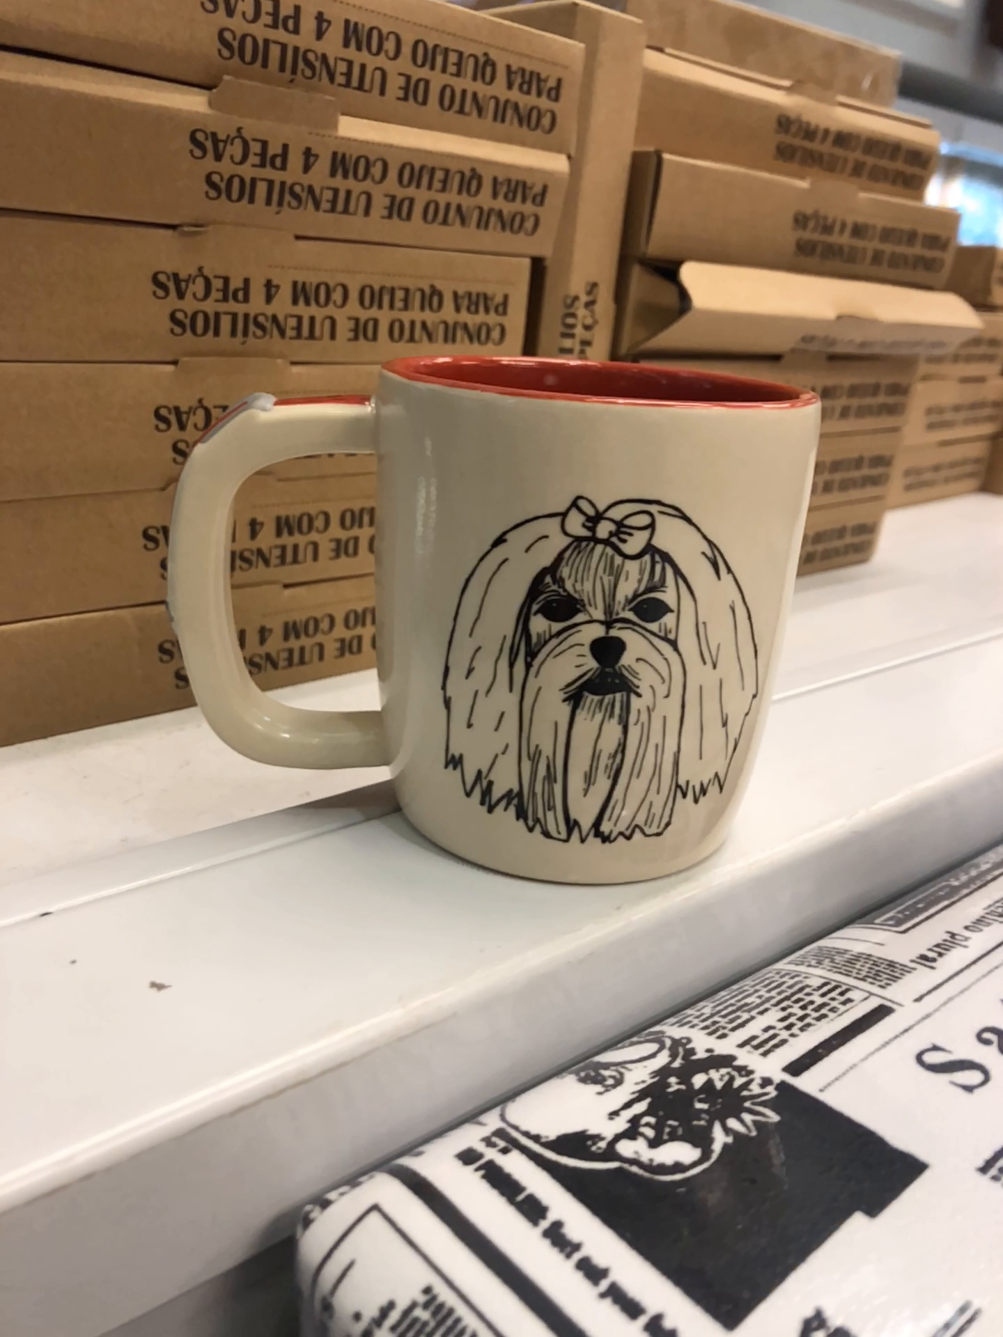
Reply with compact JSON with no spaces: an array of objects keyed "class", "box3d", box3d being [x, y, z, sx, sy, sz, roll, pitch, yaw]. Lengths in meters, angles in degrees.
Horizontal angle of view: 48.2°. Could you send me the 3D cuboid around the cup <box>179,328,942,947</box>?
[{"class":"cup","box3d":[0.000,-0.015,0.223,0.120,0.089,0.090,-2,20,-16]}]
